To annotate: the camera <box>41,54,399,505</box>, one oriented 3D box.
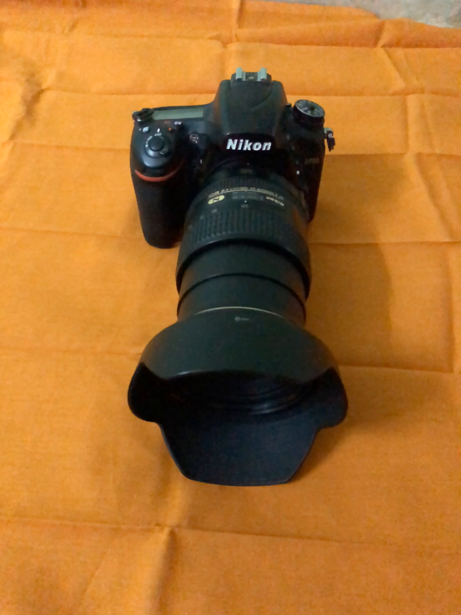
[{"bbox_3d":[-0.001,-0.034,0.316,0.130,0.120,0.265,1,51,1],"label":"camera"}]
